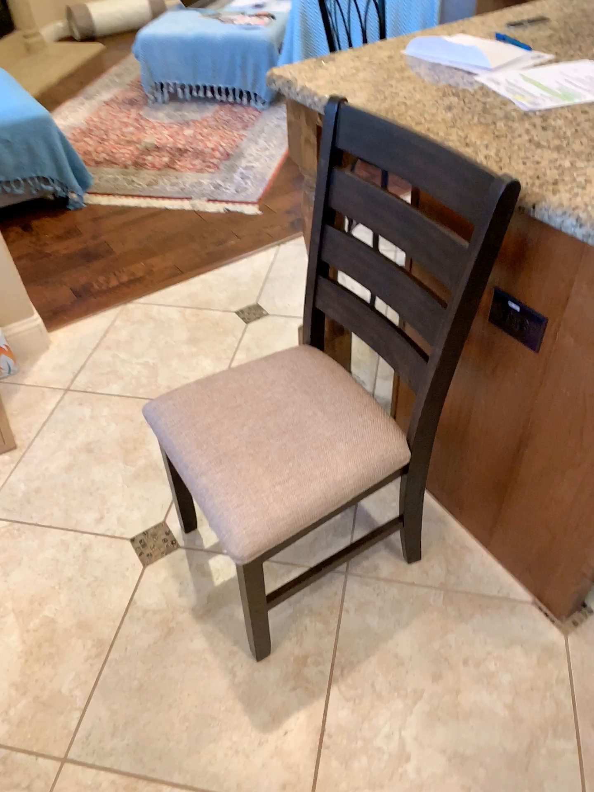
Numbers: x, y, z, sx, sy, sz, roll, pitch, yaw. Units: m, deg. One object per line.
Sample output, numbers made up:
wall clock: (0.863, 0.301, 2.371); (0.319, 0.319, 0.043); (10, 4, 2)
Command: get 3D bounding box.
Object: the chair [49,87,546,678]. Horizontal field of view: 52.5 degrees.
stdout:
chair: (0.001, 0.012, 1.157); (0.524, 0.909, 0.469); (-26, 48, -21)
